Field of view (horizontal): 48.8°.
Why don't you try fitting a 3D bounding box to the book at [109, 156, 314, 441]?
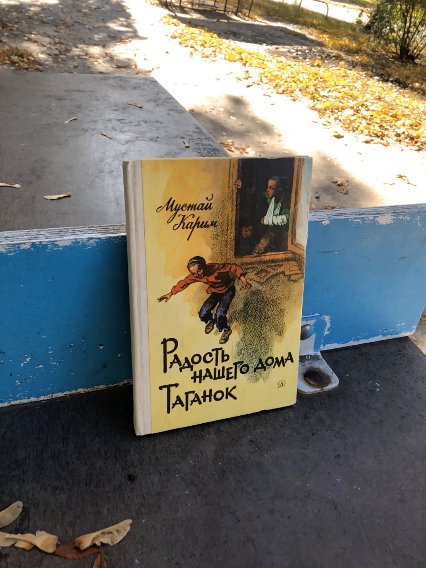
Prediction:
[{"bbox_3d":[0.004,0.011,0.381,0.155,0.218,0.020,-6,17,-18],"label":"book"}]
